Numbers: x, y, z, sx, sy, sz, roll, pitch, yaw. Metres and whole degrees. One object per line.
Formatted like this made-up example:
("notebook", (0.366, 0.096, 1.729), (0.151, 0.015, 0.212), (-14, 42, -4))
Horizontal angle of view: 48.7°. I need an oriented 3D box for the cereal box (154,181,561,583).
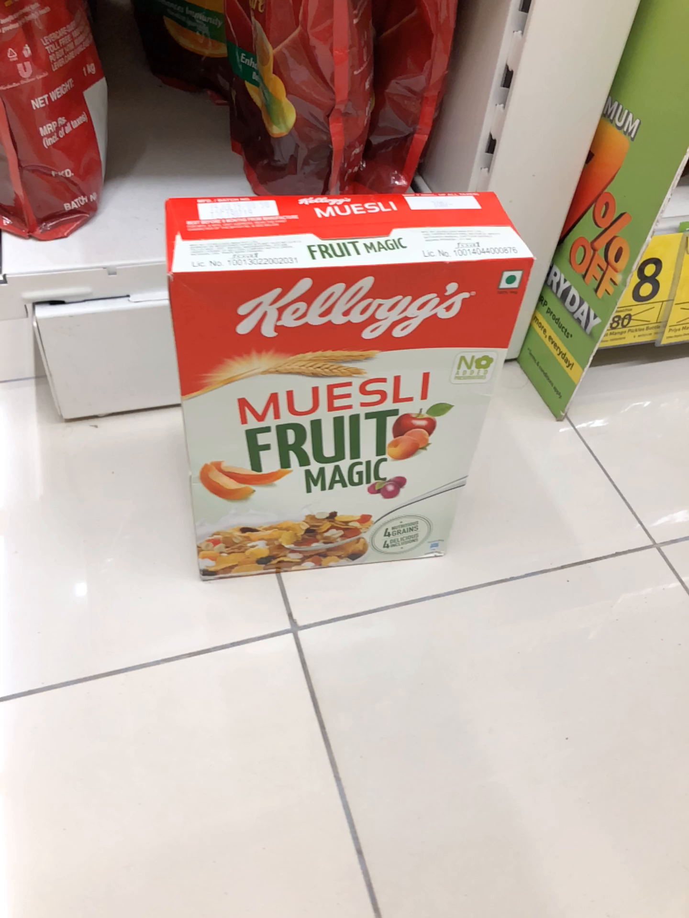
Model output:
("cereal box", (-0.005, -0.035, 0.464), (0.190, 0.238, 0.080), (-5, 48, -11))
